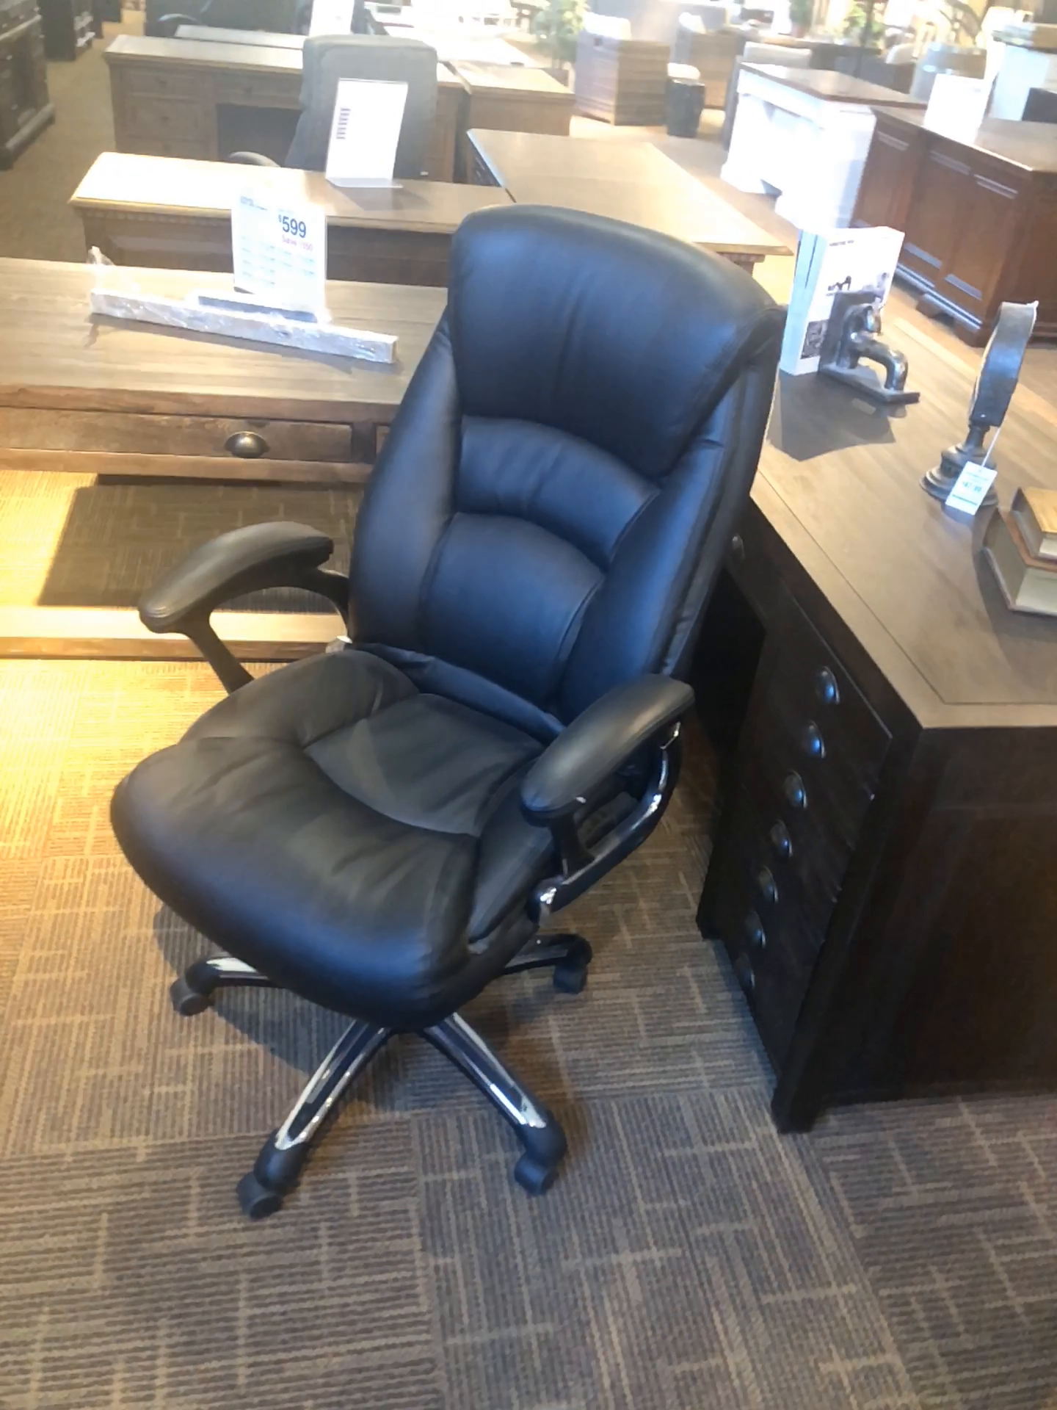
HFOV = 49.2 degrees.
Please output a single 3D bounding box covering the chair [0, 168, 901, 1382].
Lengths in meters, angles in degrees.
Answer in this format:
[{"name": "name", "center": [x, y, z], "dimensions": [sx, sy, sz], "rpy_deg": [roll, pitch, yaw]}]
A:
[{"name": "chair", "center": [-0.147, 0.026, 1.456], "dimensions": [0.701, 1.118, 0.772], "rpy_deg": [25, 37, 25]}]
